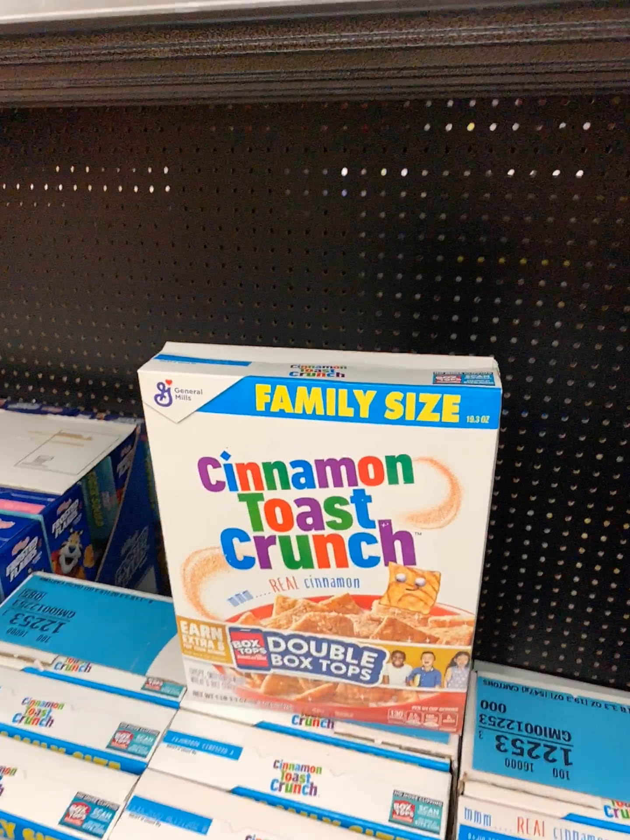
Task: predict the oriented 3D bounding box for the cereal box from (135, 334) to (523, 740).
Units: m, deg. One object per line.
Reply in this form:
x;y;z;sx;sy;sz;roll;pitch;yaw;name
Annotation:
0.011;0.093;0.486;0.240;0.299;0.060;4;26;10;cereal box
